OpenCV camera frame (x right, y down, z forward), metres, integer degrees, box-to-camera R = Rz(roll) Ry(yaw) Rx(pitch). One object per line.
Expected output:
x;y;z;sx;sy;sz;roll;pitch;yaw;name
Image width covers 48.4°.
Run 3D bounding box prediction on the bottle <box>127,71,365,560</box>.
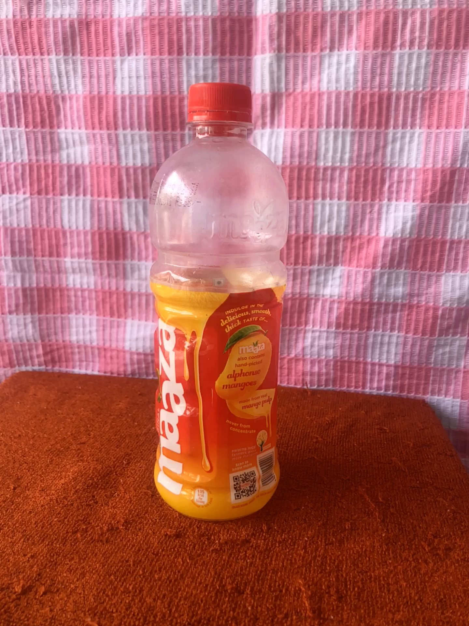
0.002;-0.001;0.263;0.080;0.209;0.070;15;21;35;bottle
